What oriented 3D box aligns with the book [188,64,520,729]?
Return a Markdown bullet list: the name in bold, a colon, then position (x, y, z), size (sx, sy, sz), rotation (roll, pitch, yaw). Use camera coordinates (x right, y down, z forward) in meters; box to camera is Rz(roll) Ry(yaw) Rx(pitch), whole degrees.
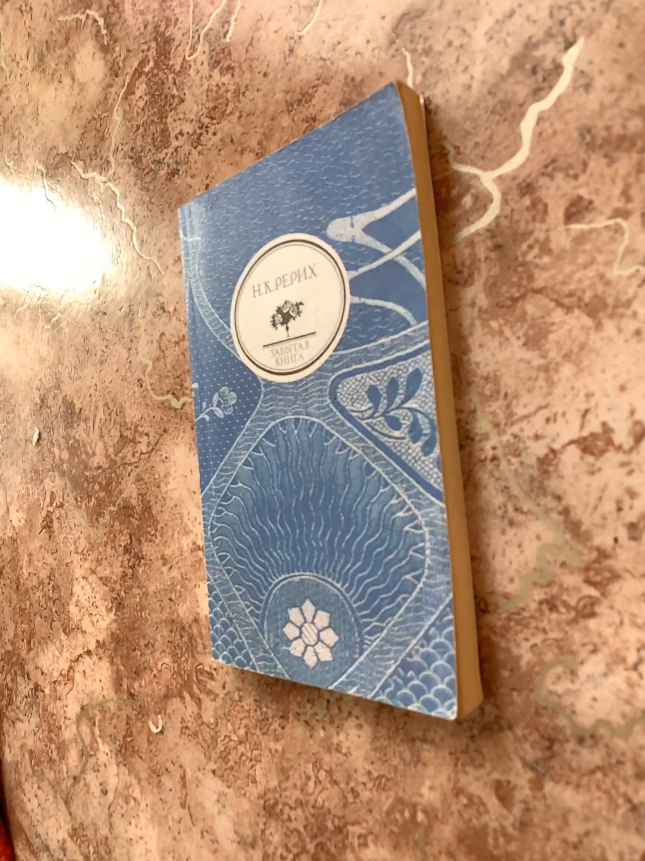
- **book**: position (0.001, -0.007, 0.248), size (0.126, 0.015, 0.202), rotation (-8, 85, 42)
